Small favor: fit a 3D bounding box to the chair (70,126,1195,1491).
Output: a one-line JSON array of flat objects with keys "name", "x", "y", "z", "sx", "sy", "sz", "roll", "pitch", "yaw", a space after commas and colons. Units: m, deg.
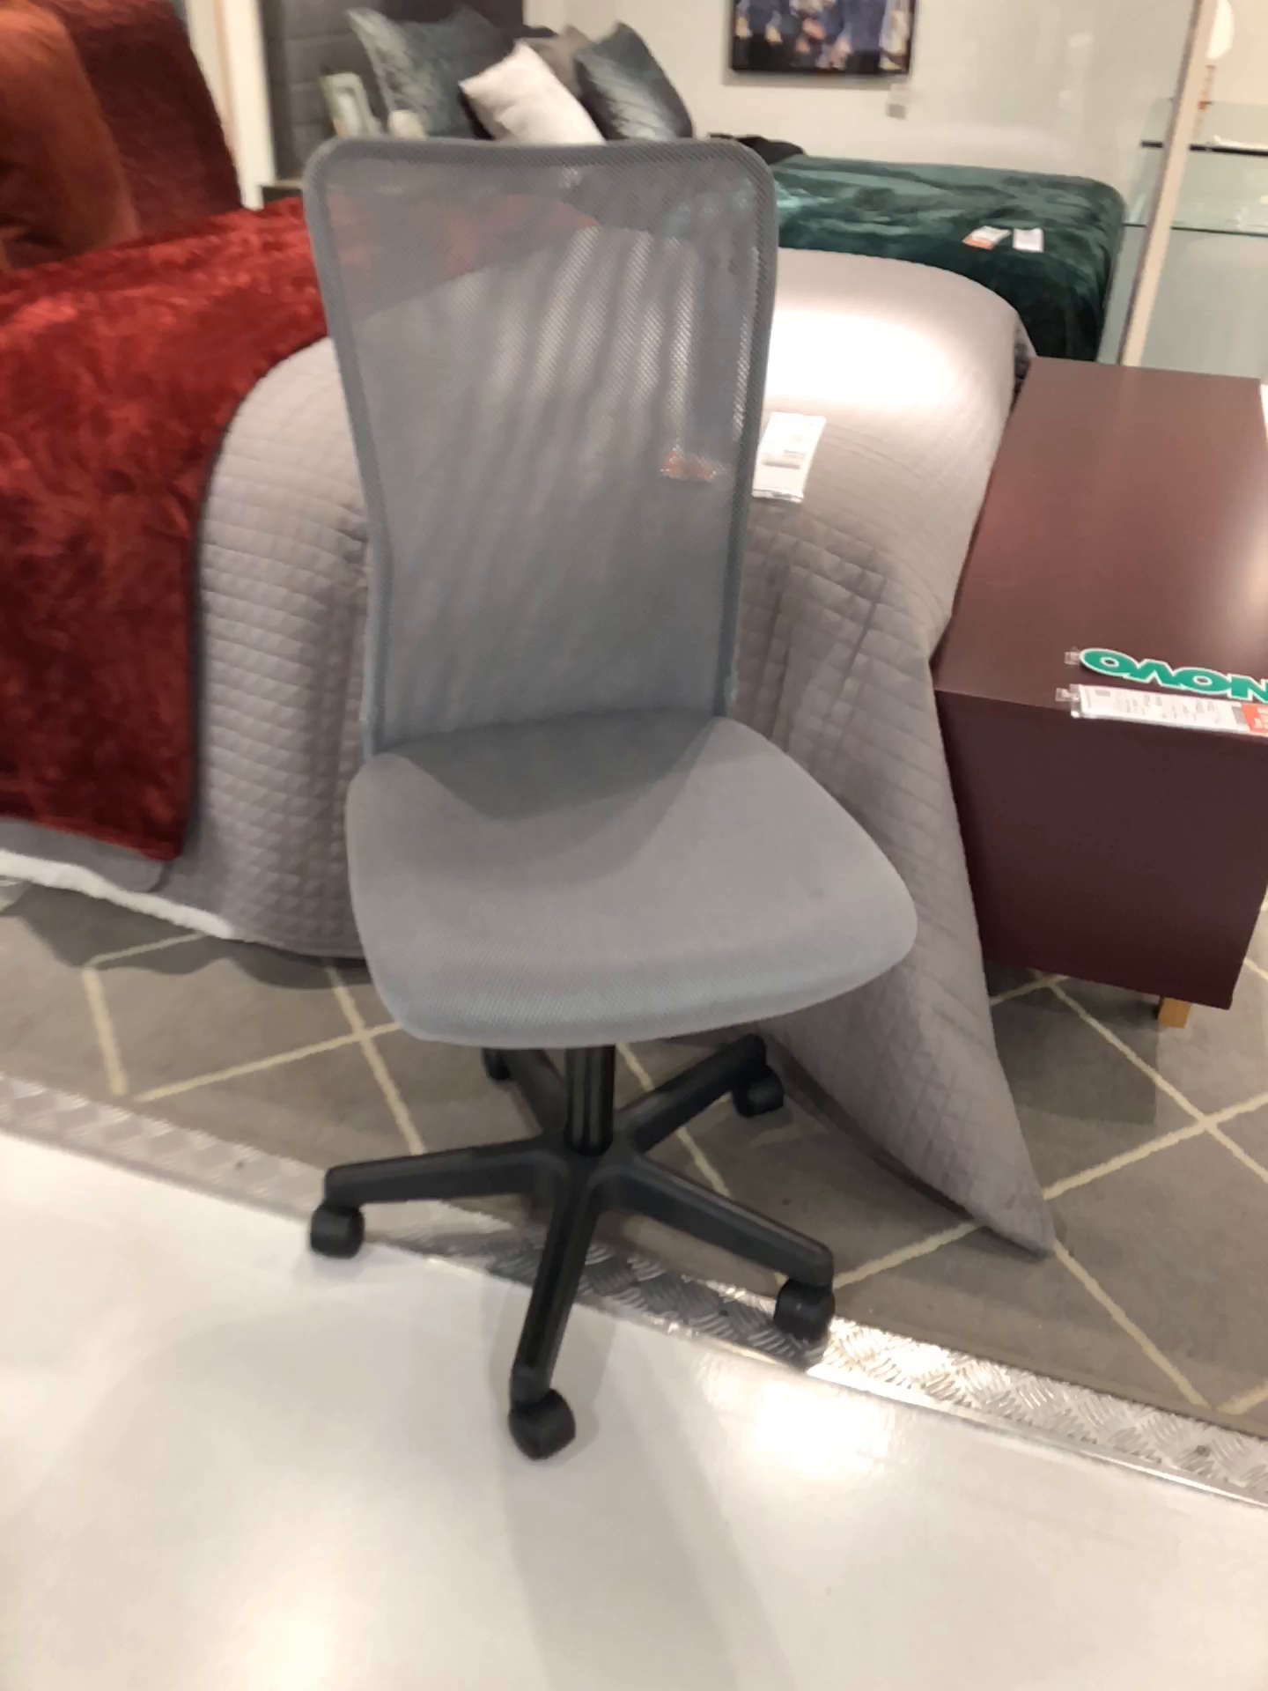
[{"name": "chair", "x": -0.049, "y": -0.056, "z": 1.193, "sx": 0.560, "sy": 0.943, "sz": 0.645, "roll": -4, "pitch": 33, "yaw": -9}]
